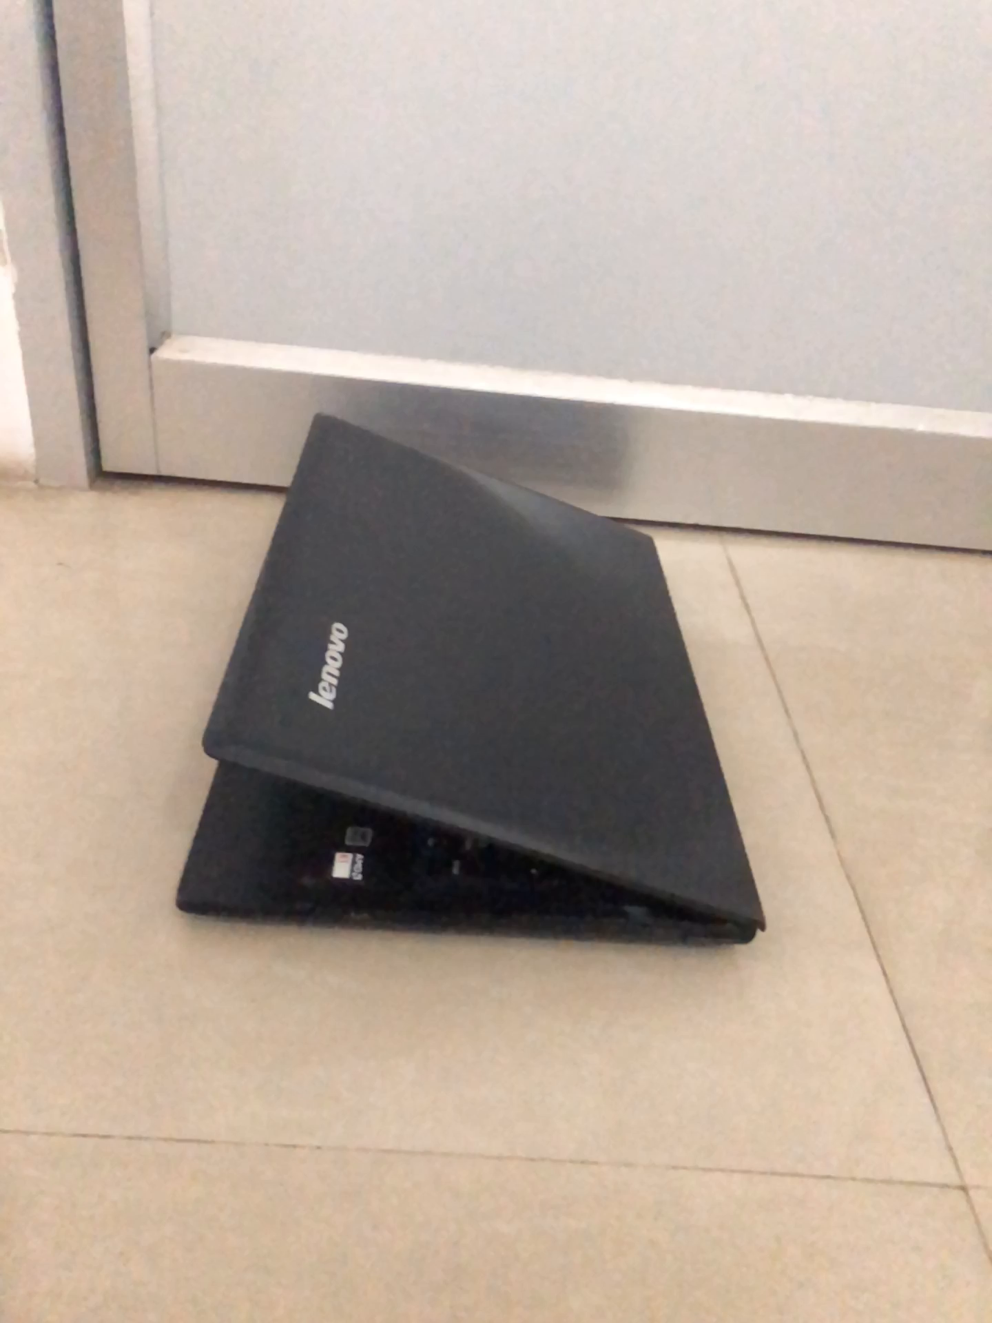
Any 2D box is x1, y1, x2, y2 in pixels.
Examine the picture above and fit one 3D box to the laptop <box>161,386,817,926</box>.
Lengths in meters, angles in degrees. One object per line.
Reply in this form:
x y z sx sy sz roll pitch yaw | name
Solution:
-0.006 -0.031 0.606 0.257 0.097 0.369 4 33 -5 | laptop
